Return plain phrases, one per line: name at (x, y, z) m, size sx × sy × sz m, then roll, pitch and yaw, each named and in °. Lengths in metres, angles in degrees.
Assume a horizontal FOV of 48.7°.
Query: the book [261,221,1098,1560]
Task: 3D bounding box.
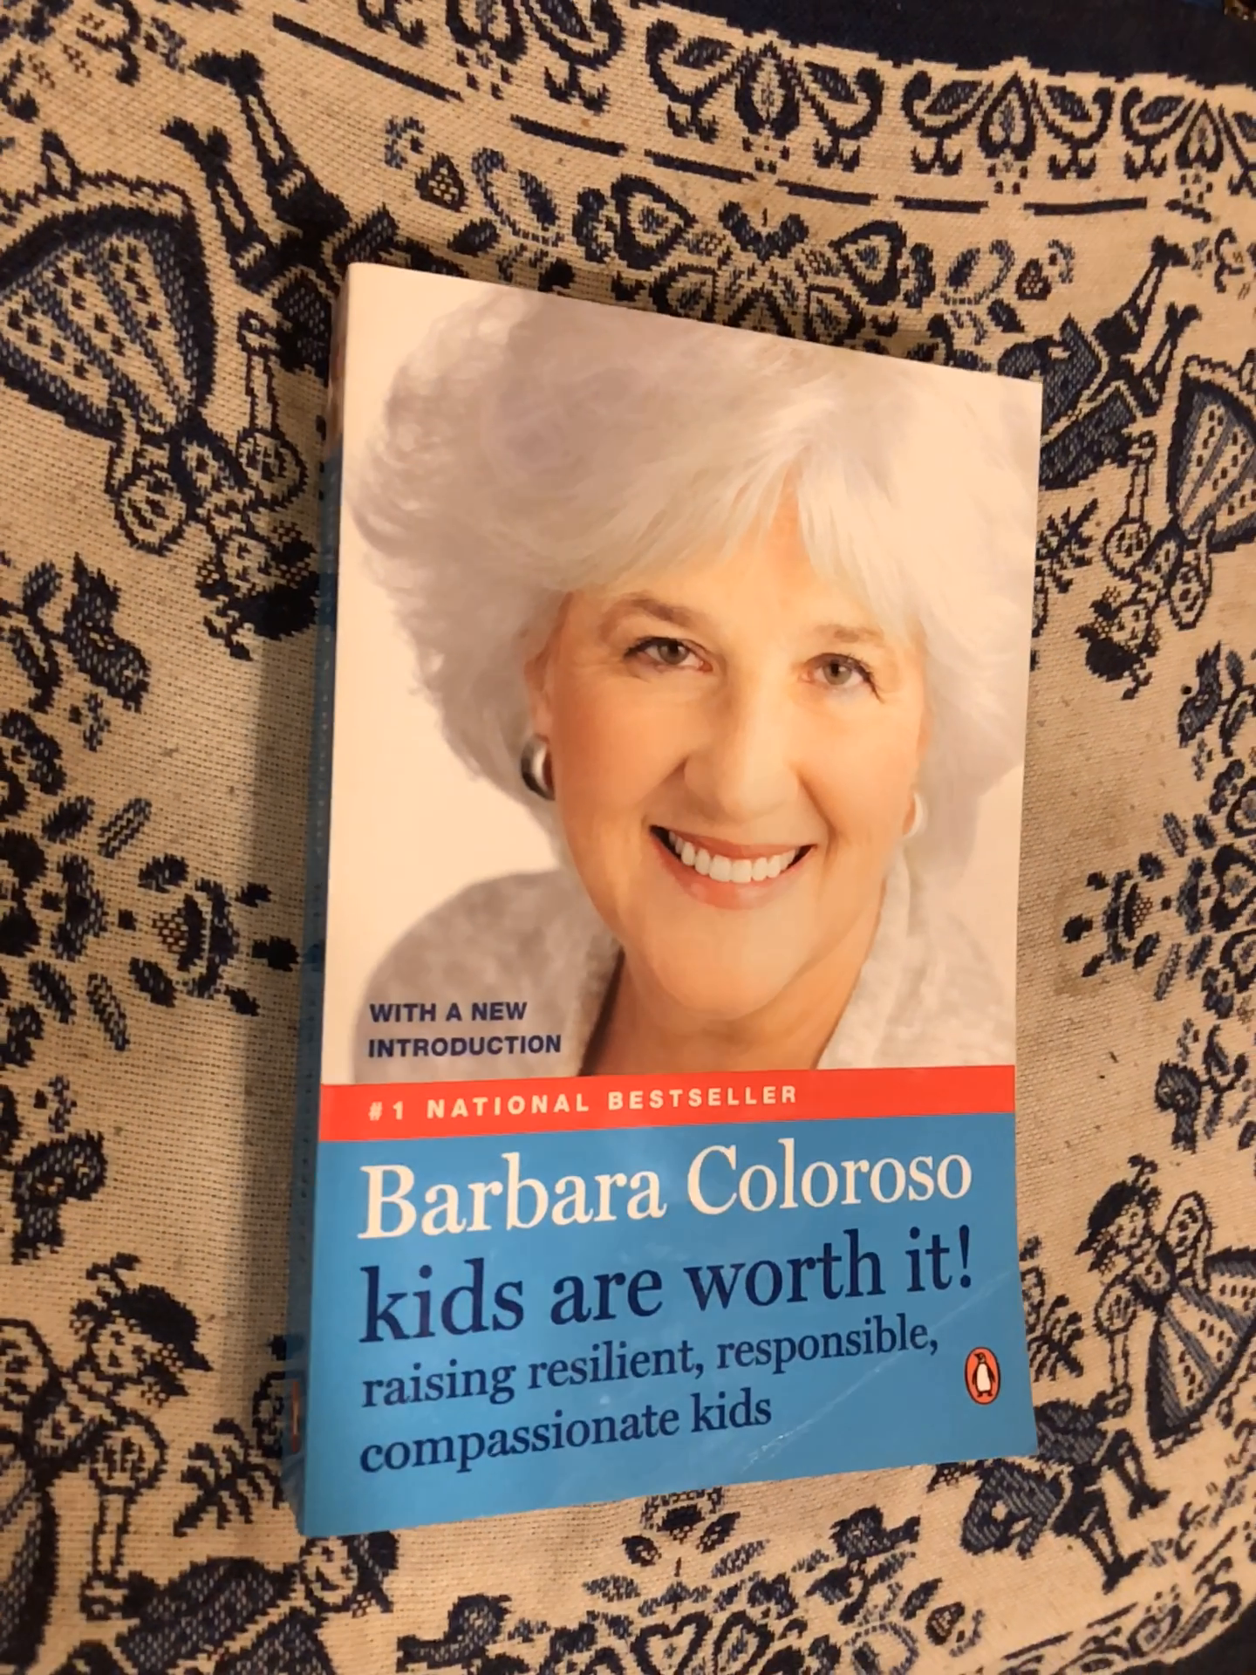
book at (0.012, 0.012, 0.279) m, size 0.150 × 0.050 × 0.220 m, roll 3°, pitch 89°, yaw -21°
